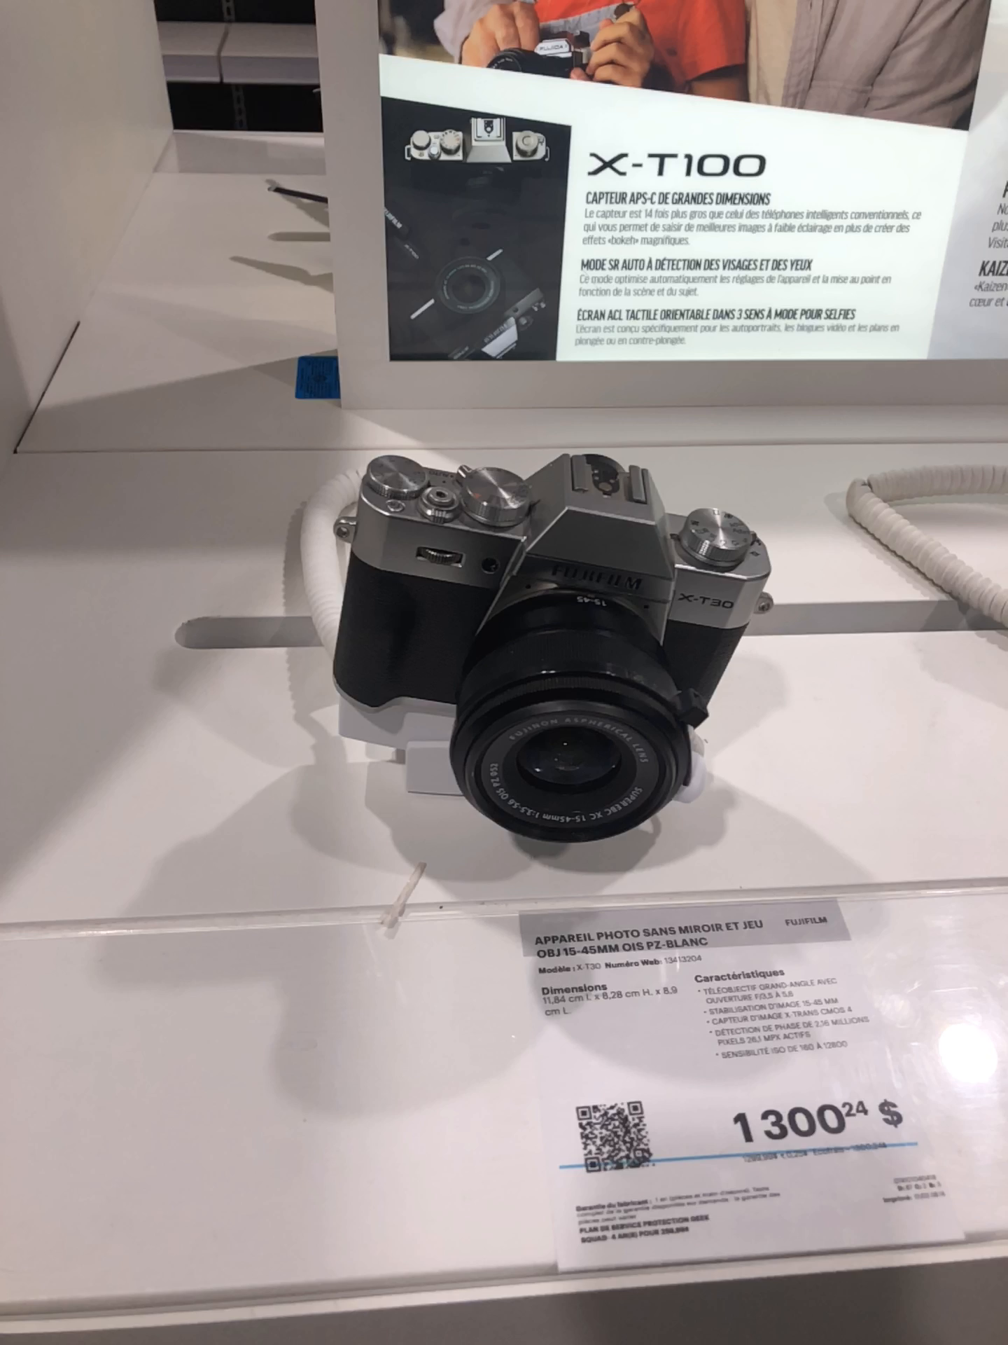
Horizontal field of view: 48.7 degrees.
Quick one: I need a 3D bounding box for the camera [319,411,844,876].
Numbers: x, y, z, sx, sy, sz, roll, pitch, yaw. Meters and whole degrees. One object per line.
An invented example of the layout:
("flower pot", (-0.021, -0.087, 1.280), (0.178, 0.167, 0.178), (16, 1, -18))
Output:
("camera", (0.017, -0.009, 0.341), (0.130, 0.089, 0.091), (7, 40, -4))
